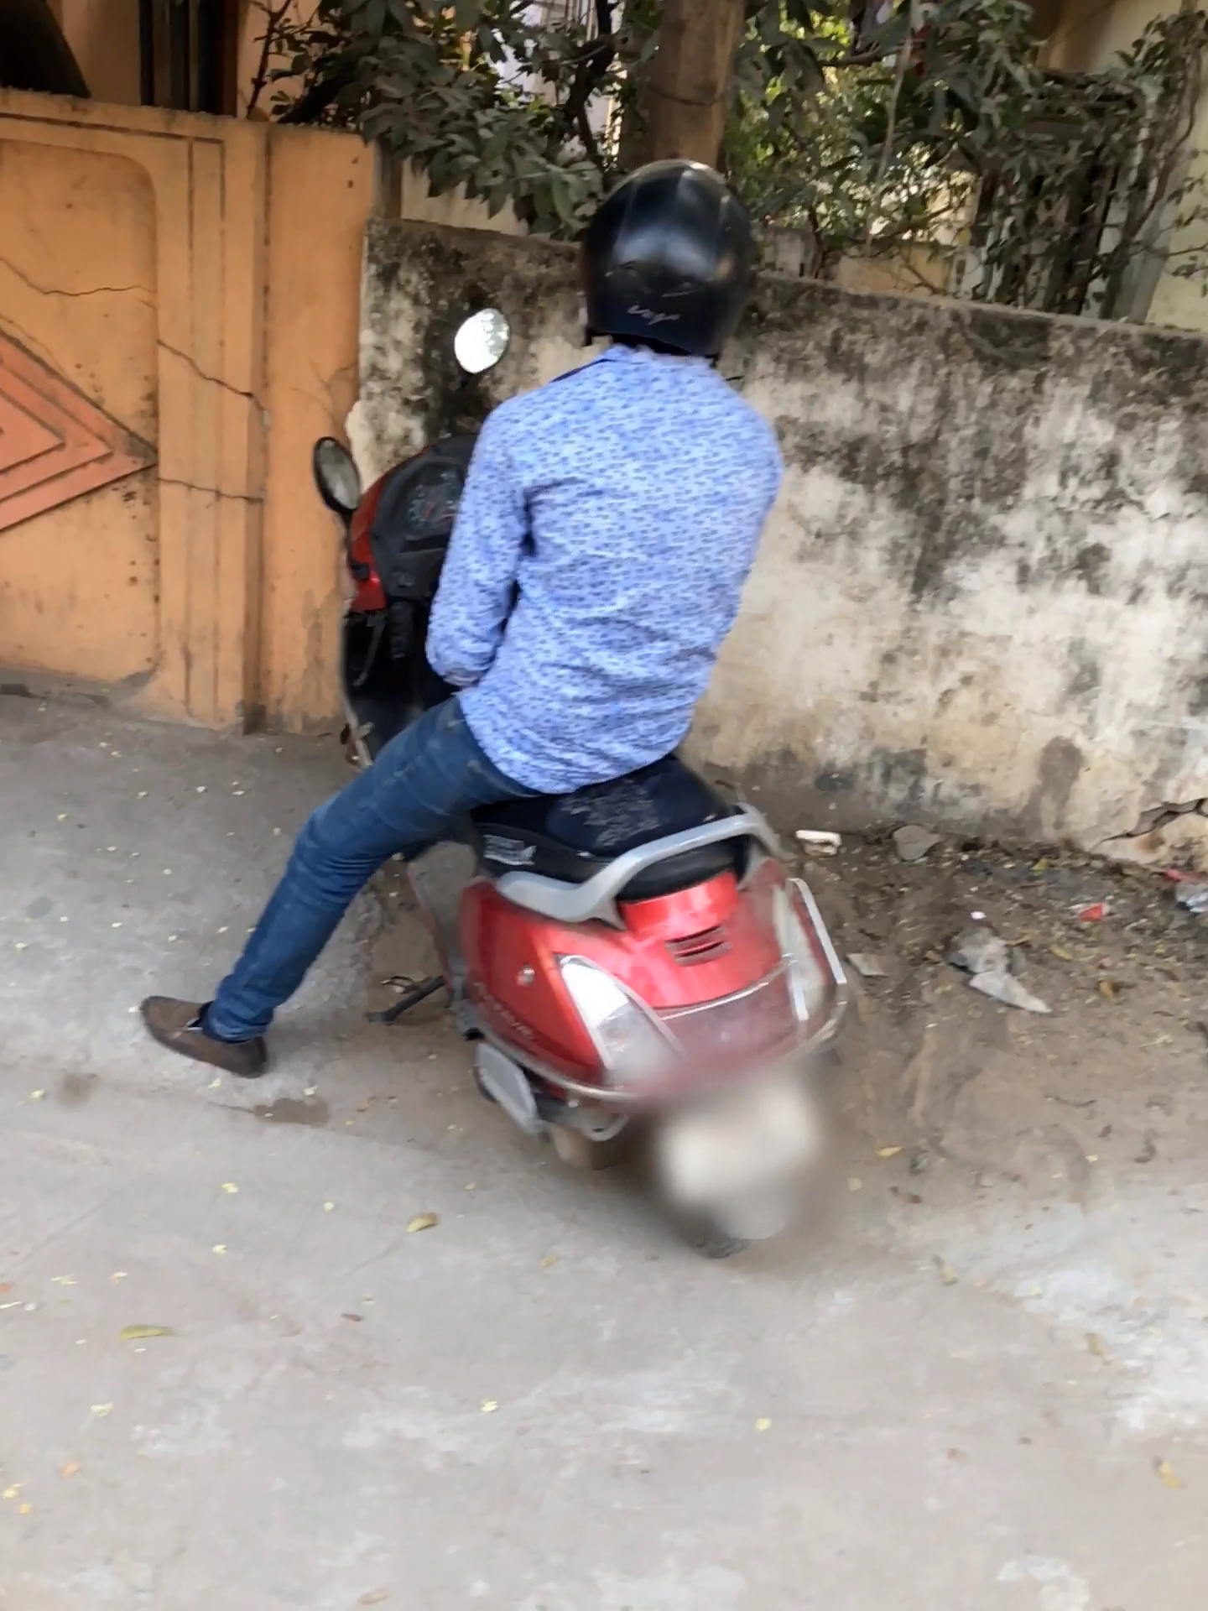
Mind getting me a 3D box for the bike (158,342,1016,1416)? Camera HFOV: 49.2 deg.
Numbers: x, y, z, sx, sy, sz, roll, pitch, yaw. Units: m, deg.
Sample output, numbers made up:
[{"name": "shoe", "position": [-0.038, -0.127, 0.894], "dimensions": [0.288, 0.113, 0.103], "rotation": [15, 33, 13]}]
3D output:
[{"name": "bike", "position": [-0.225, -0.036, 2.372], "dimensions": [0.723, 1.165, 1.507], "rotation": [-7, 30, -31]}]
